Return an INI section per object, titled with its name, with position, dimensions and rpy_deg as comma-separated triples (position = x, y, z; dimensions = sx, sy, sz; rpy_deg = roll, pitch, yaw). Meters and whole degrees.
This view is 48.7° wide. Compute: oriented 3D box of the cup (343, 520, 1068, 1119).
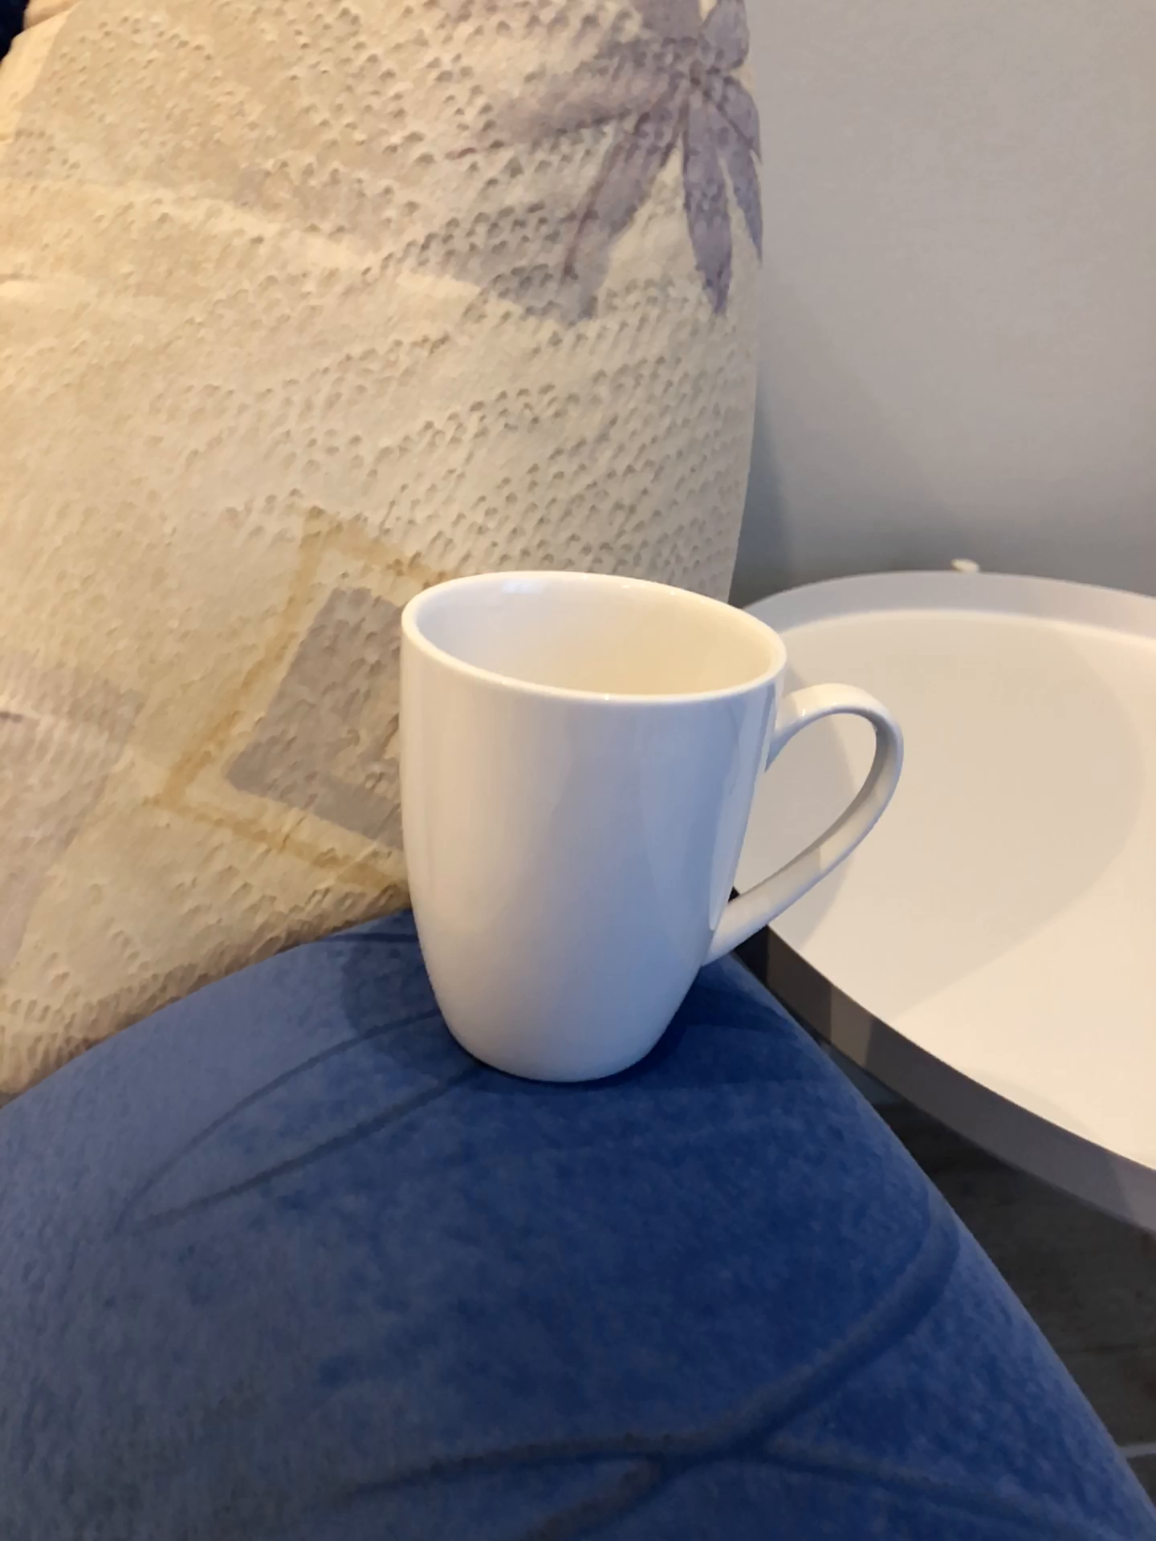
[cup]
position = 0.016, 0.002, 0.254
dimensions = 0.110, 0.079, 0.080
rpy_deg = -4, 31, -19
